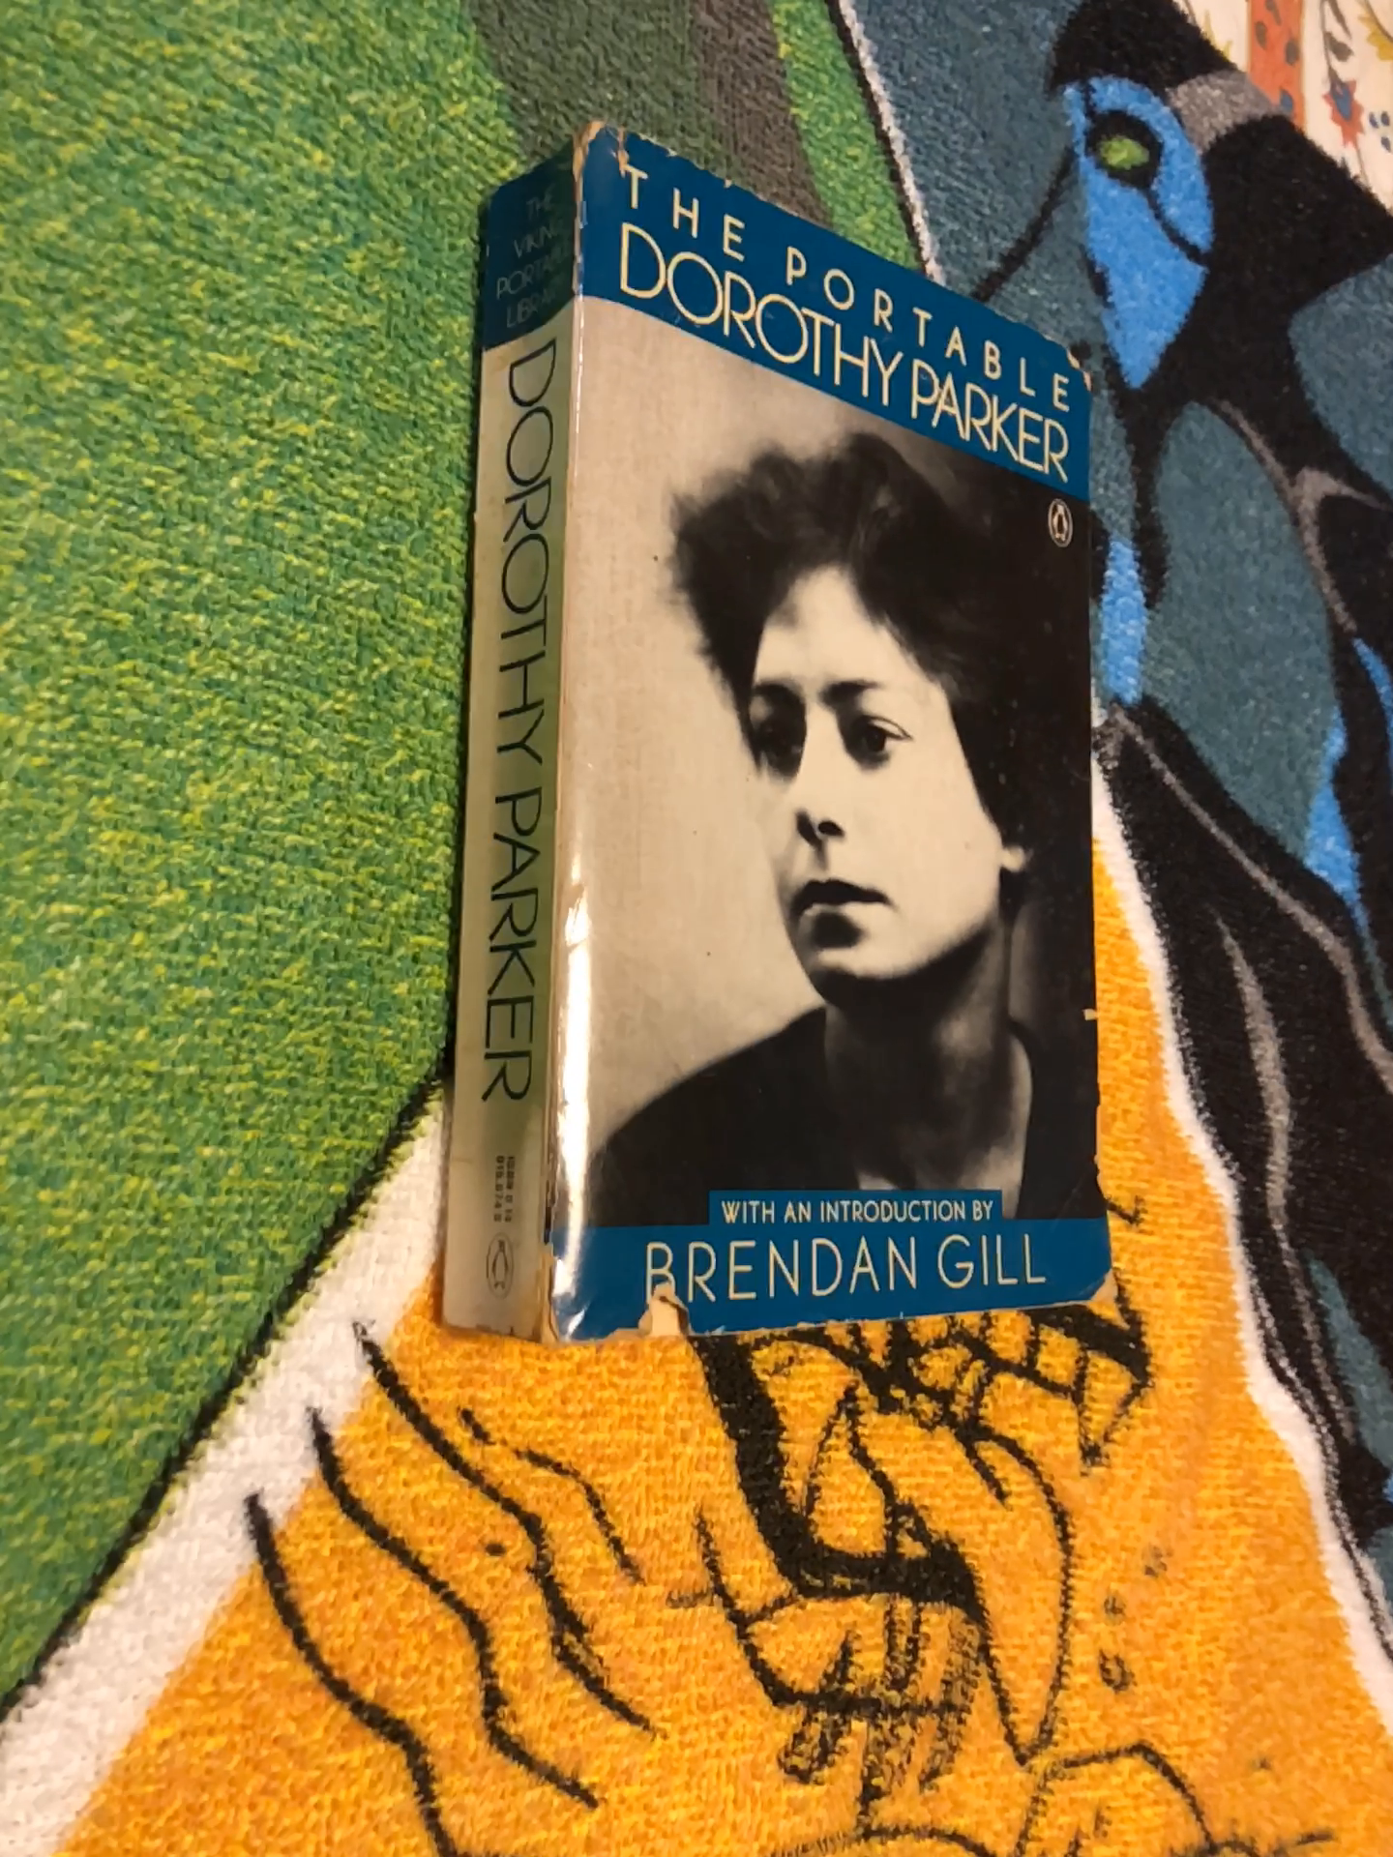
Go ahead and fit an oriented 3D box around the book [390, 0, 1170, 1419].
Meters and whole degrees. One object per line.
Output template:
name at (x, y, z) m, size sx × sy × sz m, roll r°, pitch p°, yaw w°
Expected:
book at (0.023, -0.029, 0.269) m, size 0.141 × 0.040 × 0.200 m, roll 7°, pitch 80°, yaw -41°
